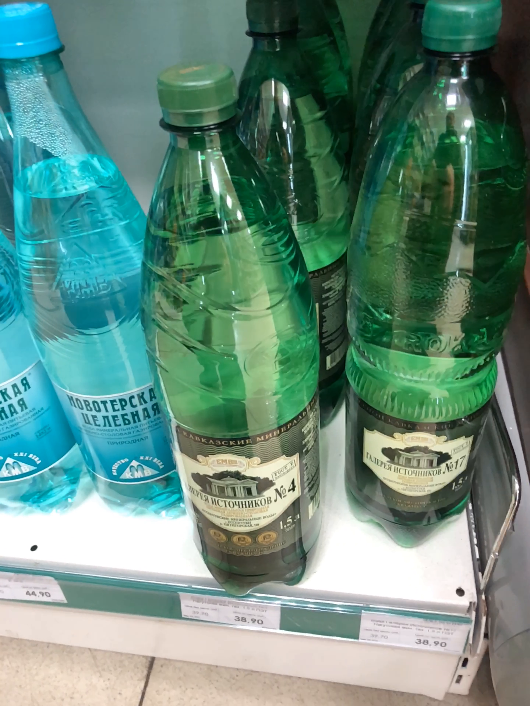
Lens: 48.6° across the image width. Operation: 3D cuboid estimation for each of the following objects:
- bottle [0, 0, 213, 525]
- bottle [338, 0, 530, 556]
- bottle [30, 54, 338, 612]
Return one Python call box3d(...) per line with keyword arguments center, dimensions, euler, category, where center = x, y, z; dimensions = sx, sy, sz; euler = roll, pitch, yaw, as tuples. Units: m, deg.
box3d(center=(-0.098, -0.023, 0.357), dimensions=(0.083, 0.326, 0.077), euler=(-2, 42, 2), category="bottle")
box3d(center=(0.094, -0.012, 0.330), dimensions=(0.091, 0.326, 0.083), euler=(3, 42, 8), category="bottle")
box3d(center=(-0.015, 0.019, 0.316), dimensions=(0.091, 0.308, 0.089), euler=(-2, 42, 2), category="bottle")
